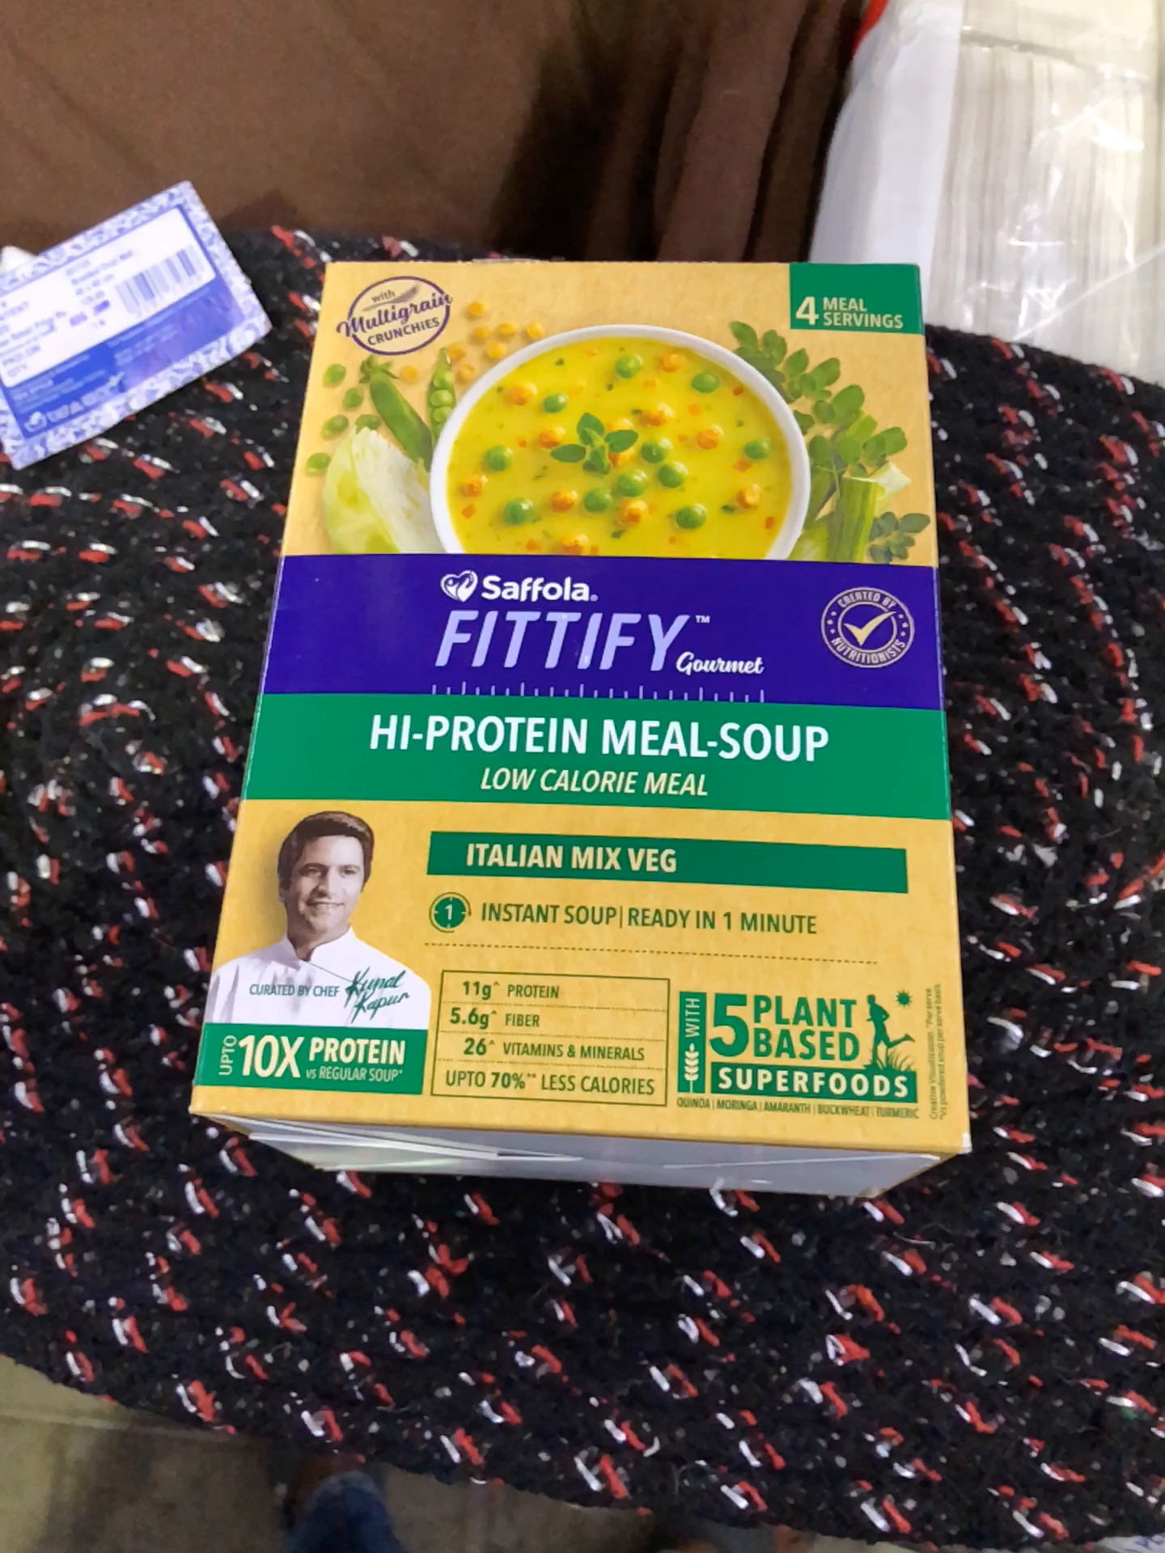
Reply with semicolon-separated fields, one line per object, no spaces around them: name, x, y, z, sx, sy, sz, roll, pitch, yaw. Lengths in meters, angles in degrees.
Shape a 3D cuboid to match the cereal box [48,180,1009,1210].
cereal box;-0.001;-0.015;0.243;0.130;0.080;0.170;2;68;4
